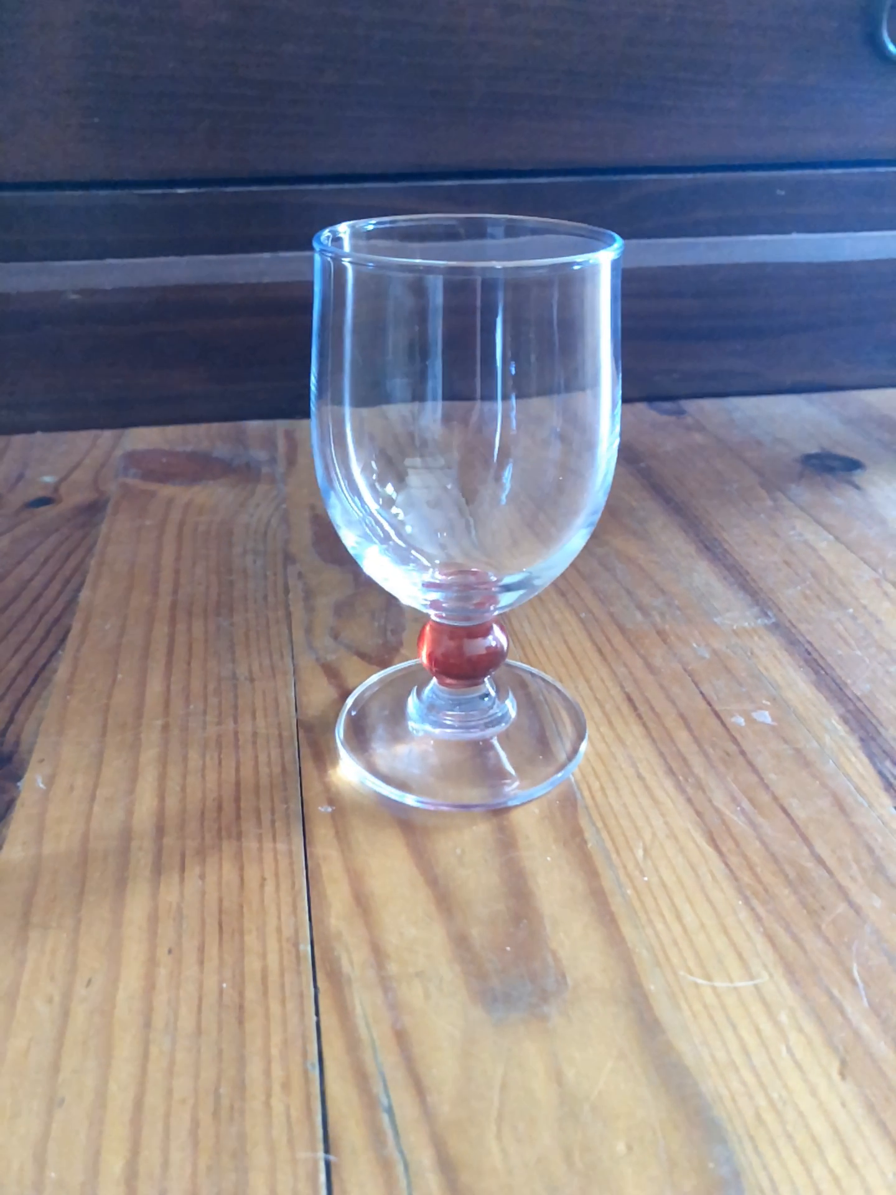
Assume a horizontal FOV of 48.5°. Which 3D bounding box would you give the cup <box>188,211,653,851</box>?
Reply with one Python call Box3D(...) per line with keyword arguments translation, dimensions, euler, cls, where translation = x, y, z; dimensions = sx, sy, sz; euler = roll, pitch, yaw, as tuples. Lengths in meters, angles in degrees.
Box3D(translation=(-0.002, -0.020, 0.247), dimensions=(0.083, 0.132, 0.088), euler=(-1, 28, 0), cls="cup")
